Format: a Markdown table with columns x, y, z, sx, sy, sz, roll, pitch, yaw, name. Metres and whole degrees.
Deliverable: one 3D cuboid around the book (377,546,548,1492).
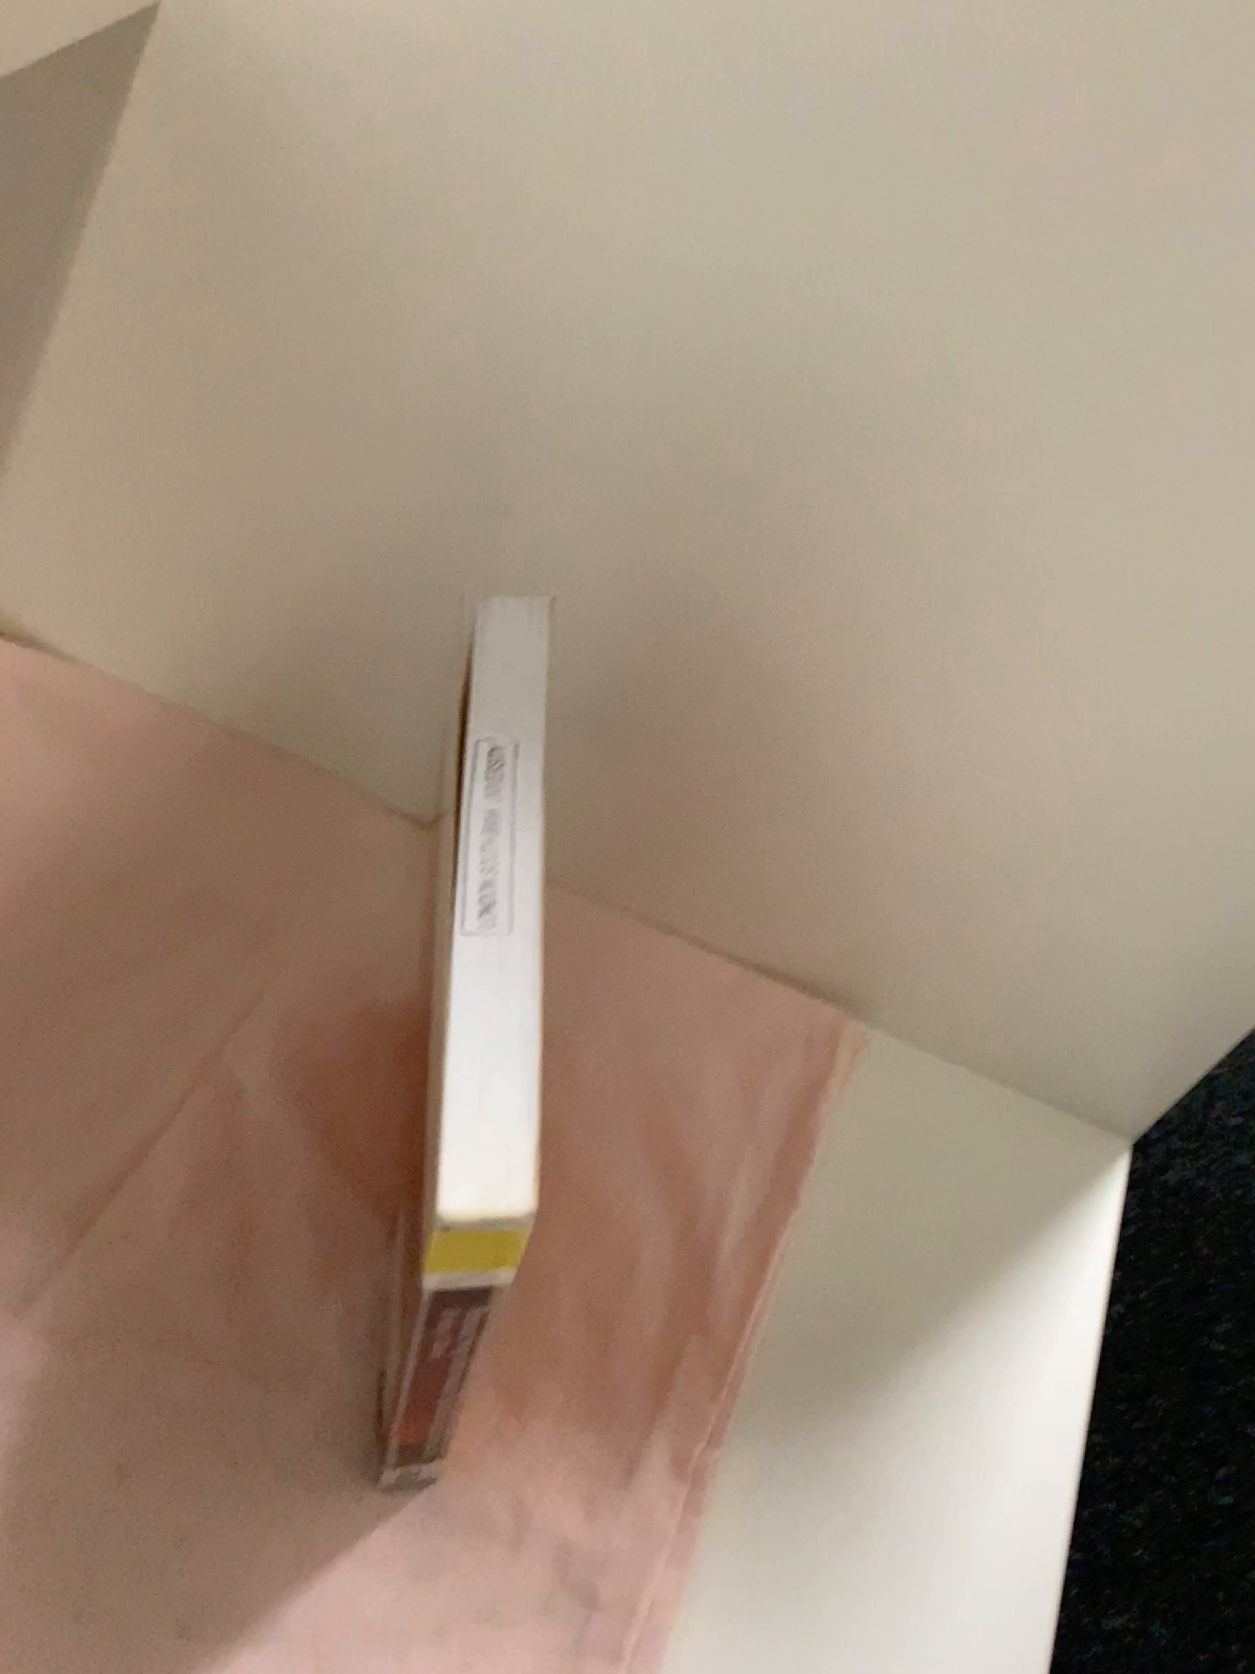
| x | y | z | sx | sy | sz | roll | pitch | yaw | name |
| --- | --- | --- | --- | --- | --- | --- | --- | --- | --- |
| -0.054 | 0.069 | 0.406 | 0.026 | 0.238 | 0.202 | 5 | 51 | -10 | book |
